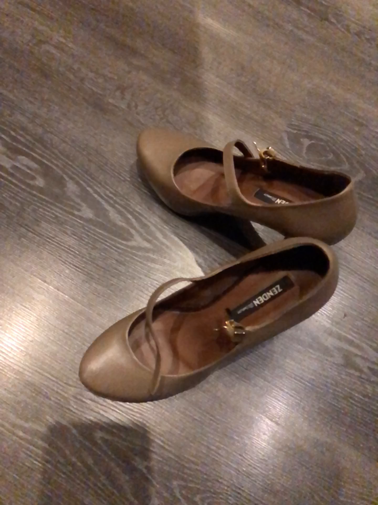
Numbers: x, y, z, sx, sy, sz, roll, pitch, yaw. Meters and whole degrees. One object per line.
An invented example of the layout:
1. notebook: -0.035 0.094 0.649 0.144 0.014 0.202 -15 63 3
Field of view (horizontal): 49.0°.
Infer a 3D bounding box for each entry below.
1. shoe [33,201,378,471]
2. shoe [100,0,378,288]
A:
1. shoe: 0.016 0.061 0.320 0.210 0.150 0.090 -19 76 -12
2. shoe: 0.042 -0.079 0.368 0.210 0.150 0.090 33 72 4
